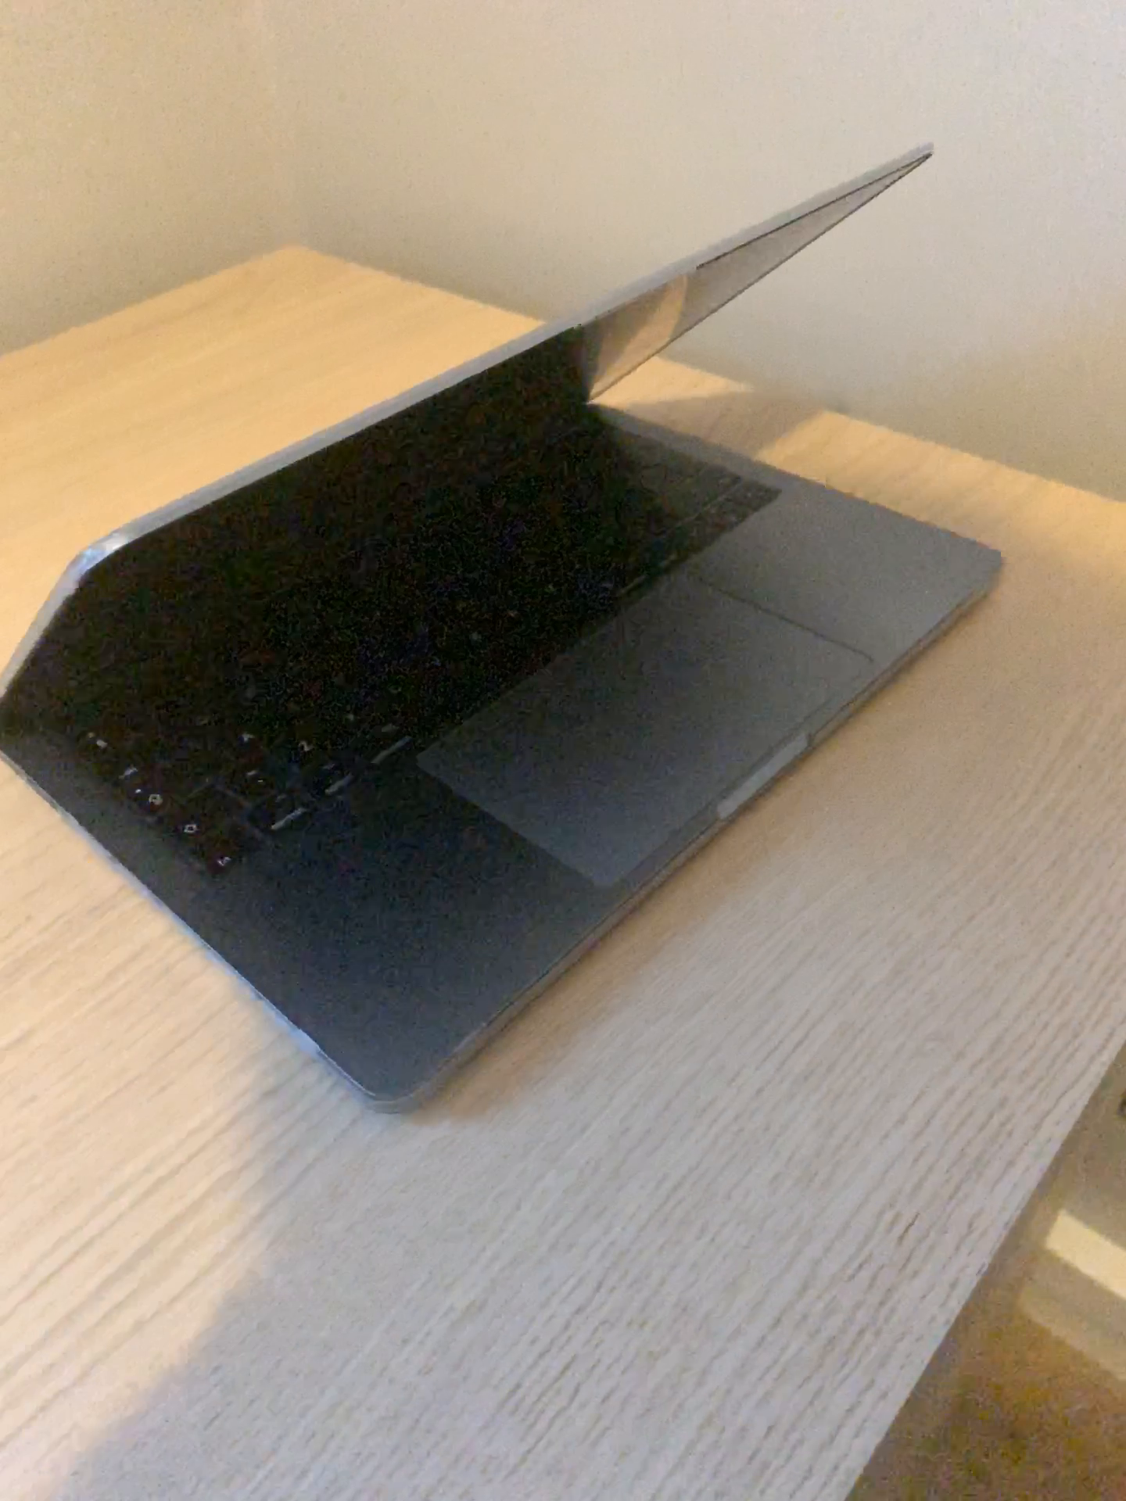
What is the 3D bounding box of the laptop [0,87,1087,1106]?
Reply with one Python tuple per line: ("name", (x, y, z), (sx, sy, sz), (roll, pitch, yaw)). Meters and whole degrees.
("laptop", (-0.020, -0.086, 0.354), (0.205, 0.130, 0.290), (30, 52, 34))
